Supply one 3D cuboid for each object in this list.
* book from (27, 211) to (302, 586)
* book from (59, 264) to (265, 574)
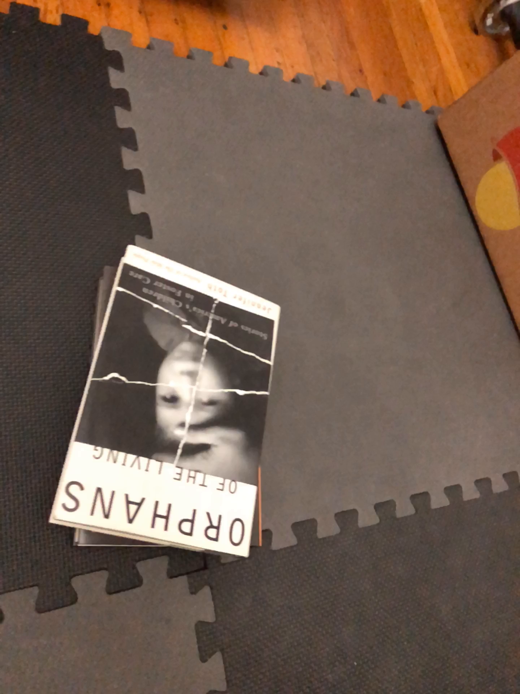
[{"bbox_3d":[-0.061,0.039,0.487,0.180,0.030,0.281,19,62,-22],"label":"book"},{"bbox_3d":[-0.079,0.060,0.504,0.160,0.030,0.251,9,66,-27],"label":"book"}]
